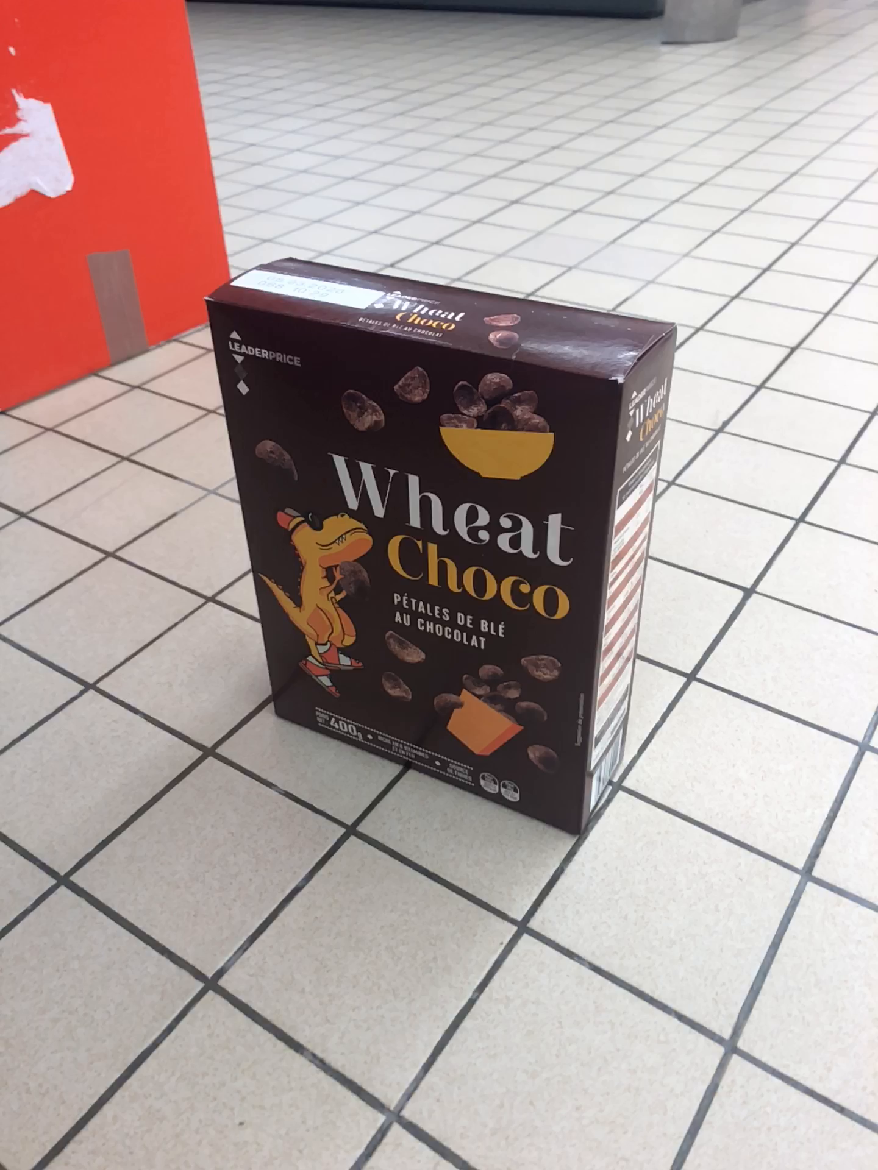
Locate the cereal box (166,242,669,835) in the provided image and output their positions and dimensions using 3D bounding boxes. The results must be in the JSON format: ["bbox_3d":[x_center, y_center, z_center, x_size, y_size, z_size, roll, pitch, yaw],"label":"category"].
[{"bbox_3d":[-0.009,-0.020,0.475,0.200,0.248,0.070,17,41,23],"label":"cereal box"}]
